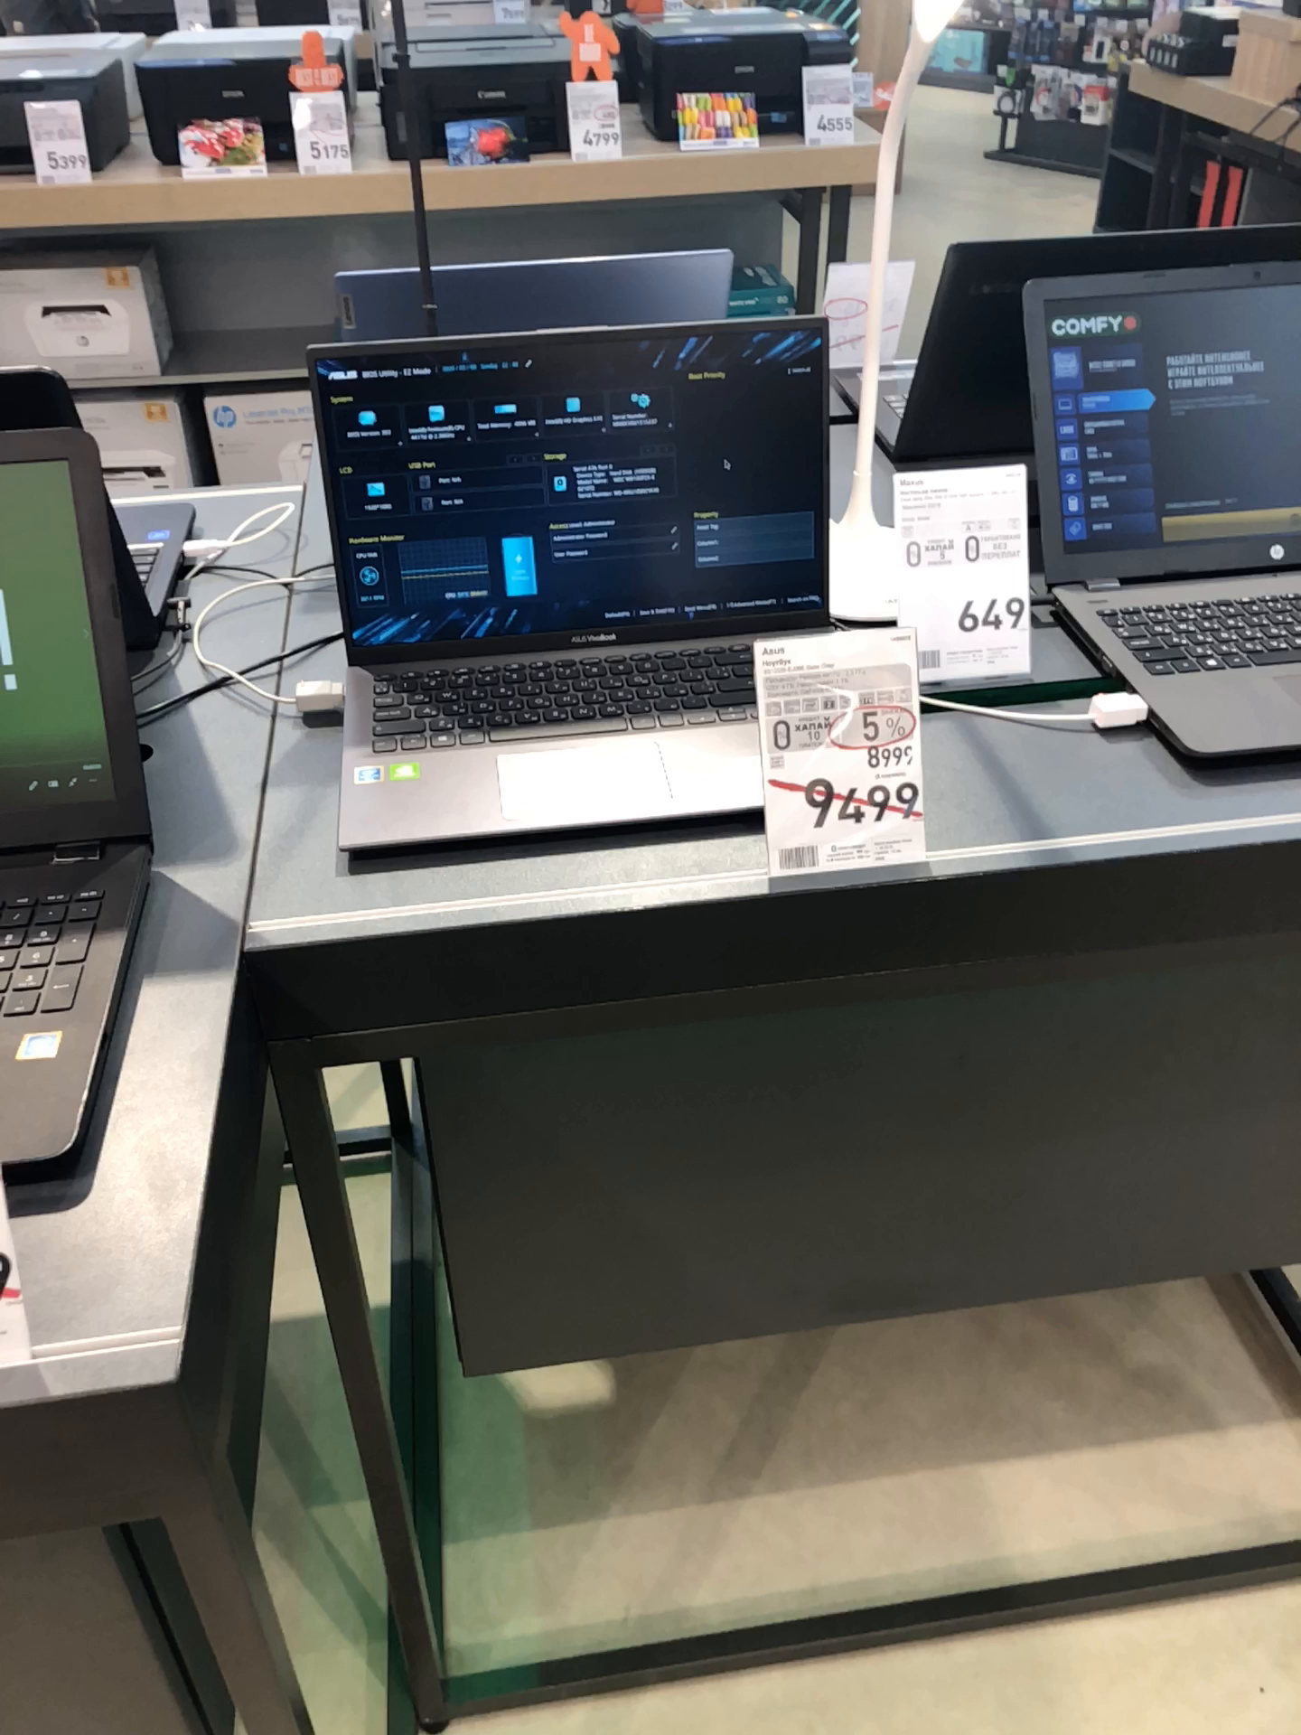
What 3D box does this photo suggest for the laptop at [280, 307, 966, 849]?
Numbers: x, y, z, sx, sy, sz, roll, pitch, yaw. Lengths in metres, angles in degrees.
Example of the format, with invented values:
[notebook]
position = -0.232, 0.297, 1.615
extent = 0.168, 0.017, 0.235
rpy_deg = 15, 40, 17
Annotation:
[laptop]
position = -0.030, -0.196, 0.907
extent = 0.355, 0.200, 0.288
rpy_deg = -6, 37, -4
